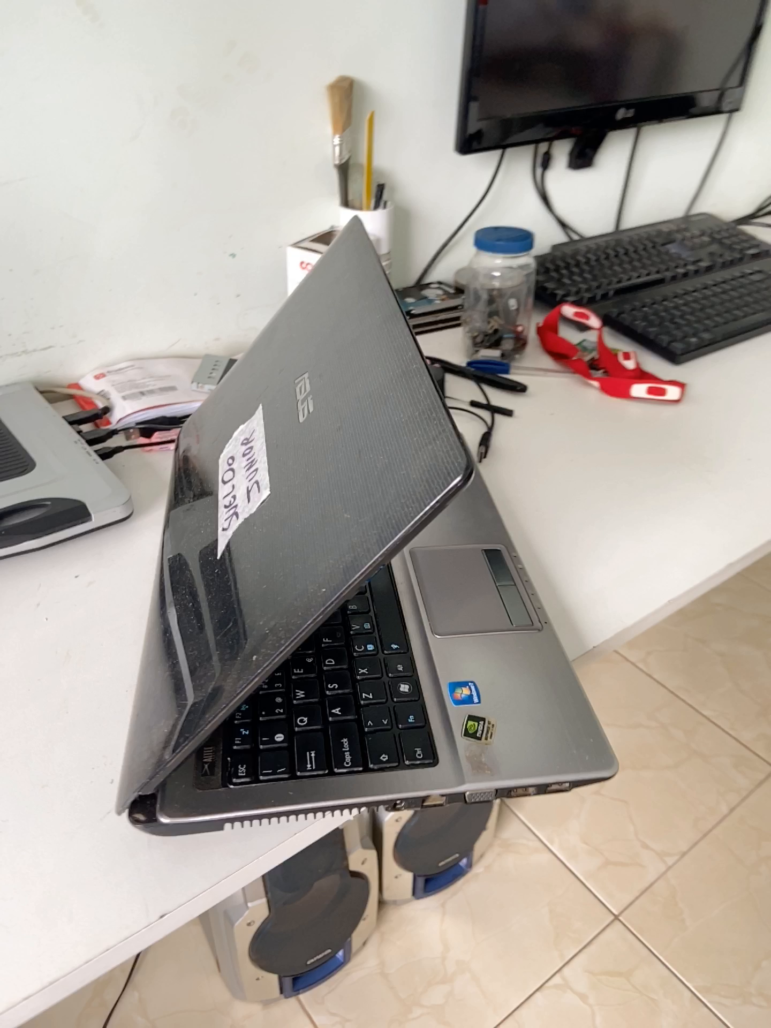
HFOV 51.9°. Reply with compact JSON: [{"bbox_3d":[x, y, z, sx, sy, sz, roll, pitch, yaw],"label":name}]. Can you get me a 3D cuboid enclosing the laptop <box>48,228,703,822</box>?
[{"bbox_3d":[-0.023,-0.039,0.501,0.246,0.182,0.378,-4,34,-8],"label":"laptop"}]
